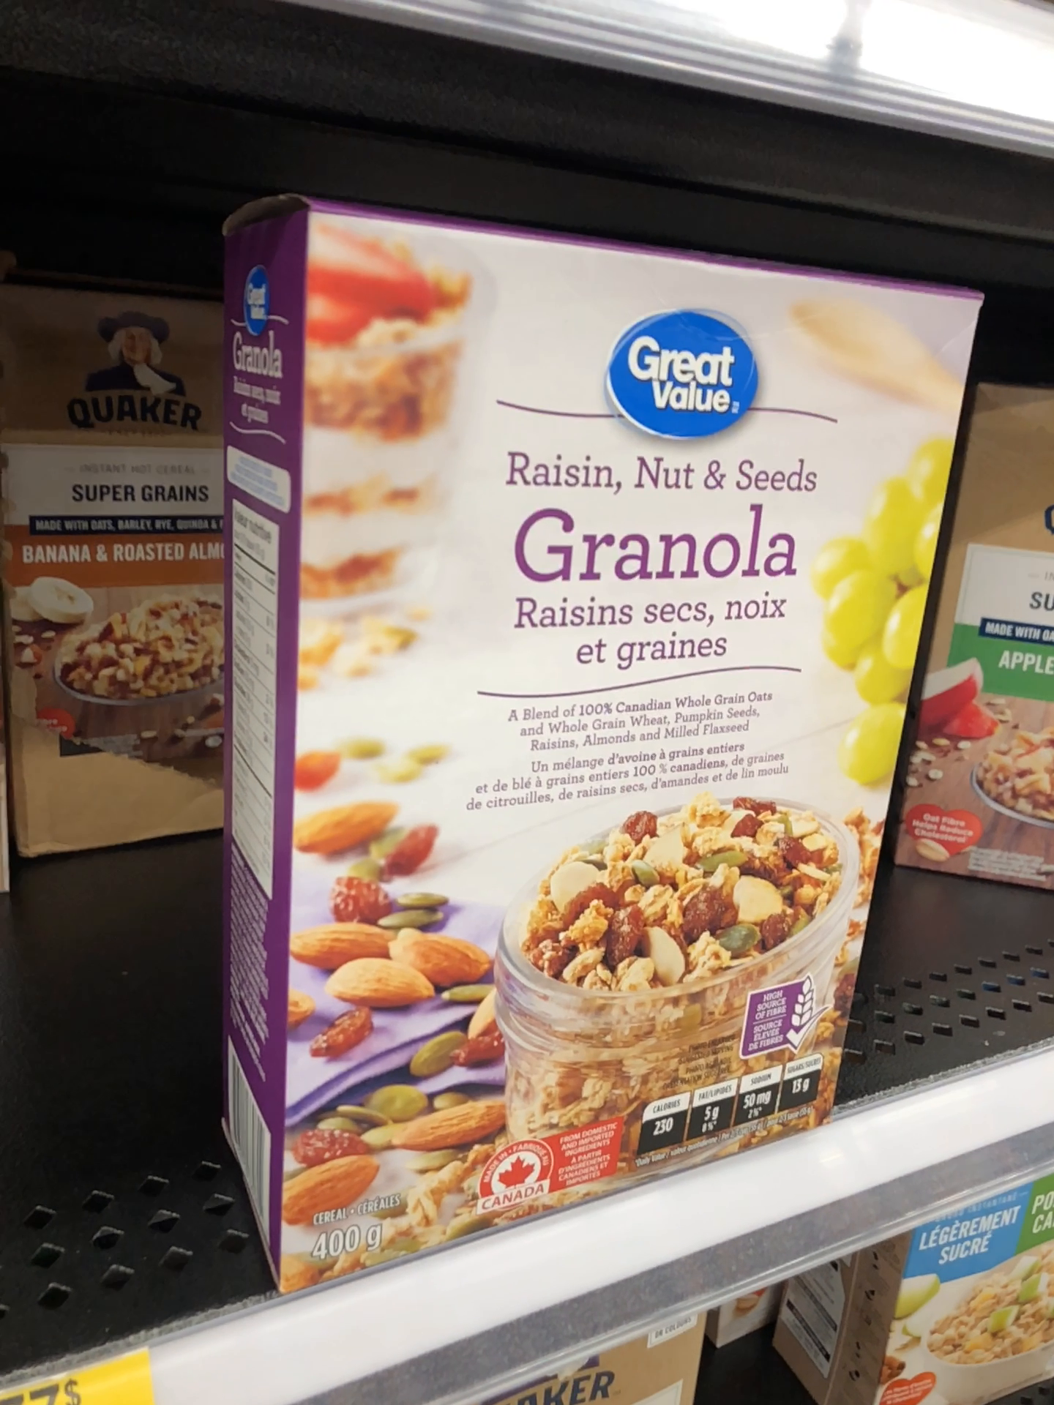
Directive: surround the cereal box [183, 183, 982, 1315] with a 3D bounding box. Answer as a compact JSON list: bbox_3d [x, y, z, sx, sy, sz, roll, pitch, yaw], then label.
[{"bbox_3d":[0.008,0.008,0.276,0.160,0.219,0.060,-5,18,-28],"label":"cereal box"}]
